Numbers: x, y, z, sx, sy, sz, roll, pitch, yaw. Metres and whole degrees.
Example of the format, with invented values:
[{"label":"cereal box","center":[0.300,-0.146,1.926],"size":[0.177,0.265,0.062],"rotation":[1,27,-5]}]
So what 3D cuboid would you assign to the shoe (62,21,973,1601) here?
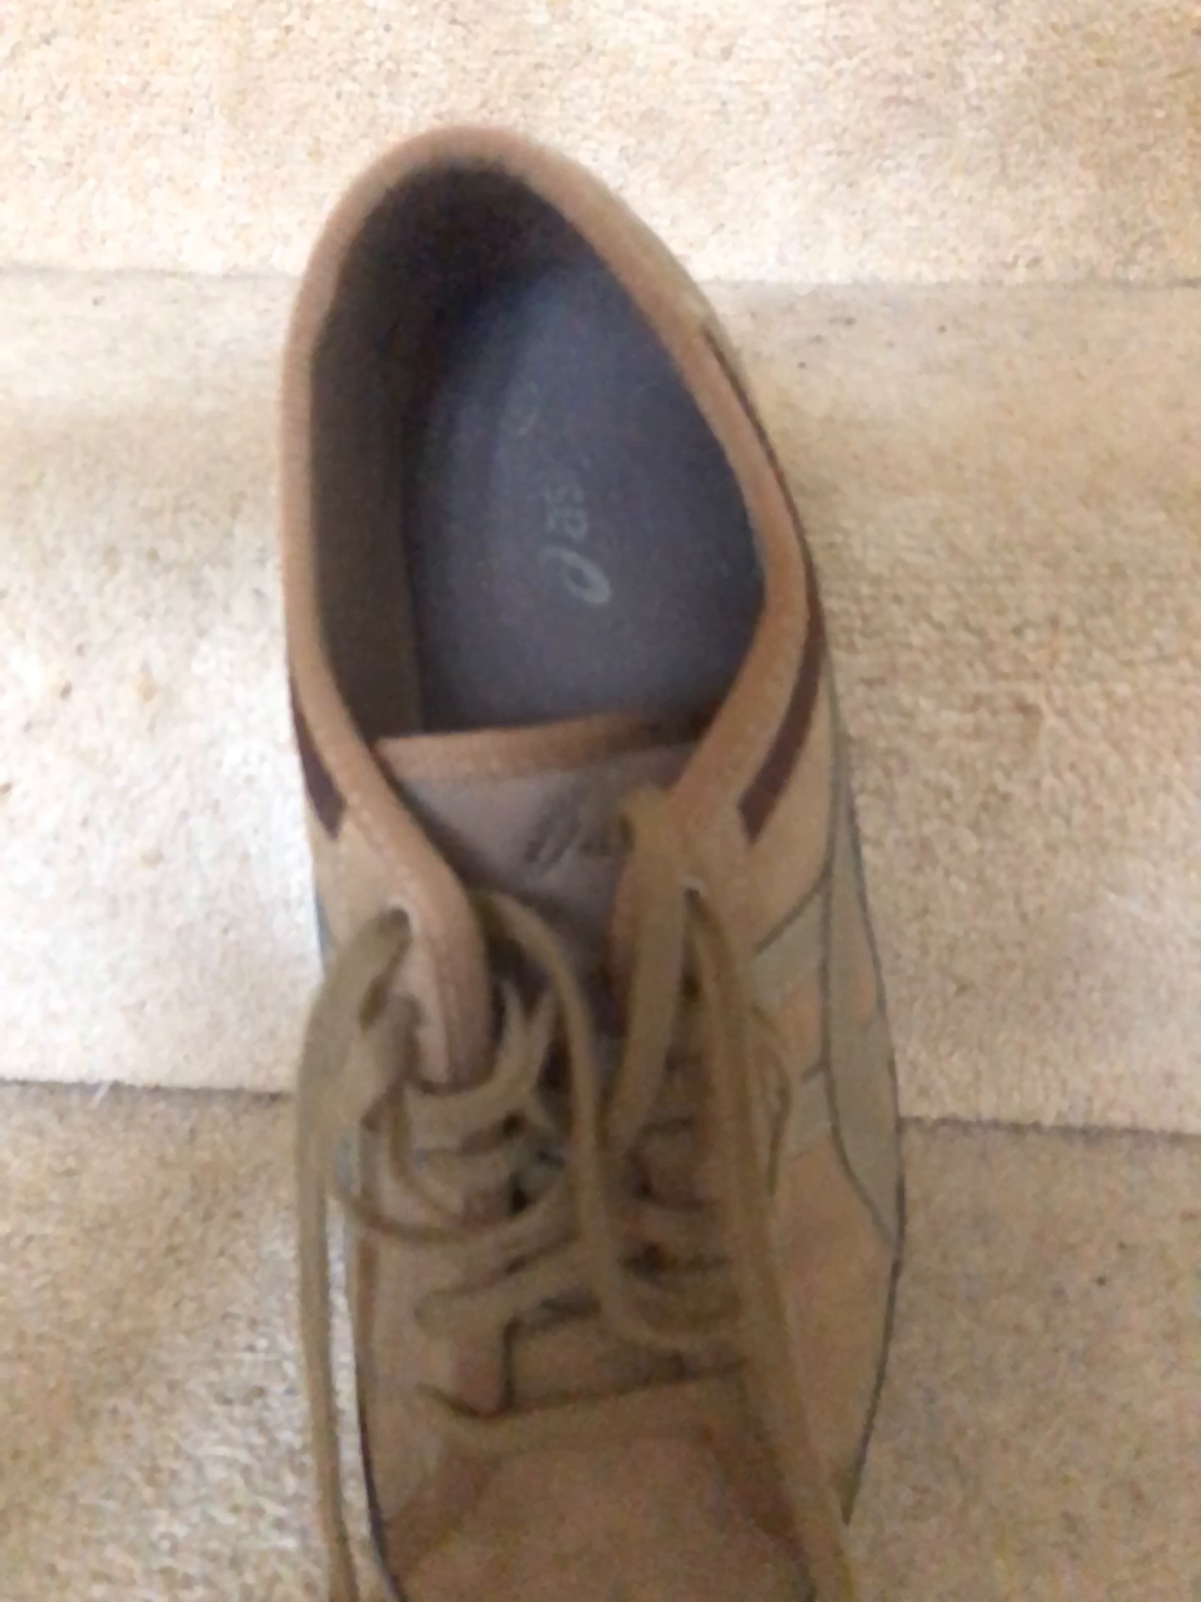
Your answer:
[{"label":"shoe","center":[-0.008,0.042,0.239],"size":[0.110,0.301,0.120],"rotation":[-3,-9,8]}]
